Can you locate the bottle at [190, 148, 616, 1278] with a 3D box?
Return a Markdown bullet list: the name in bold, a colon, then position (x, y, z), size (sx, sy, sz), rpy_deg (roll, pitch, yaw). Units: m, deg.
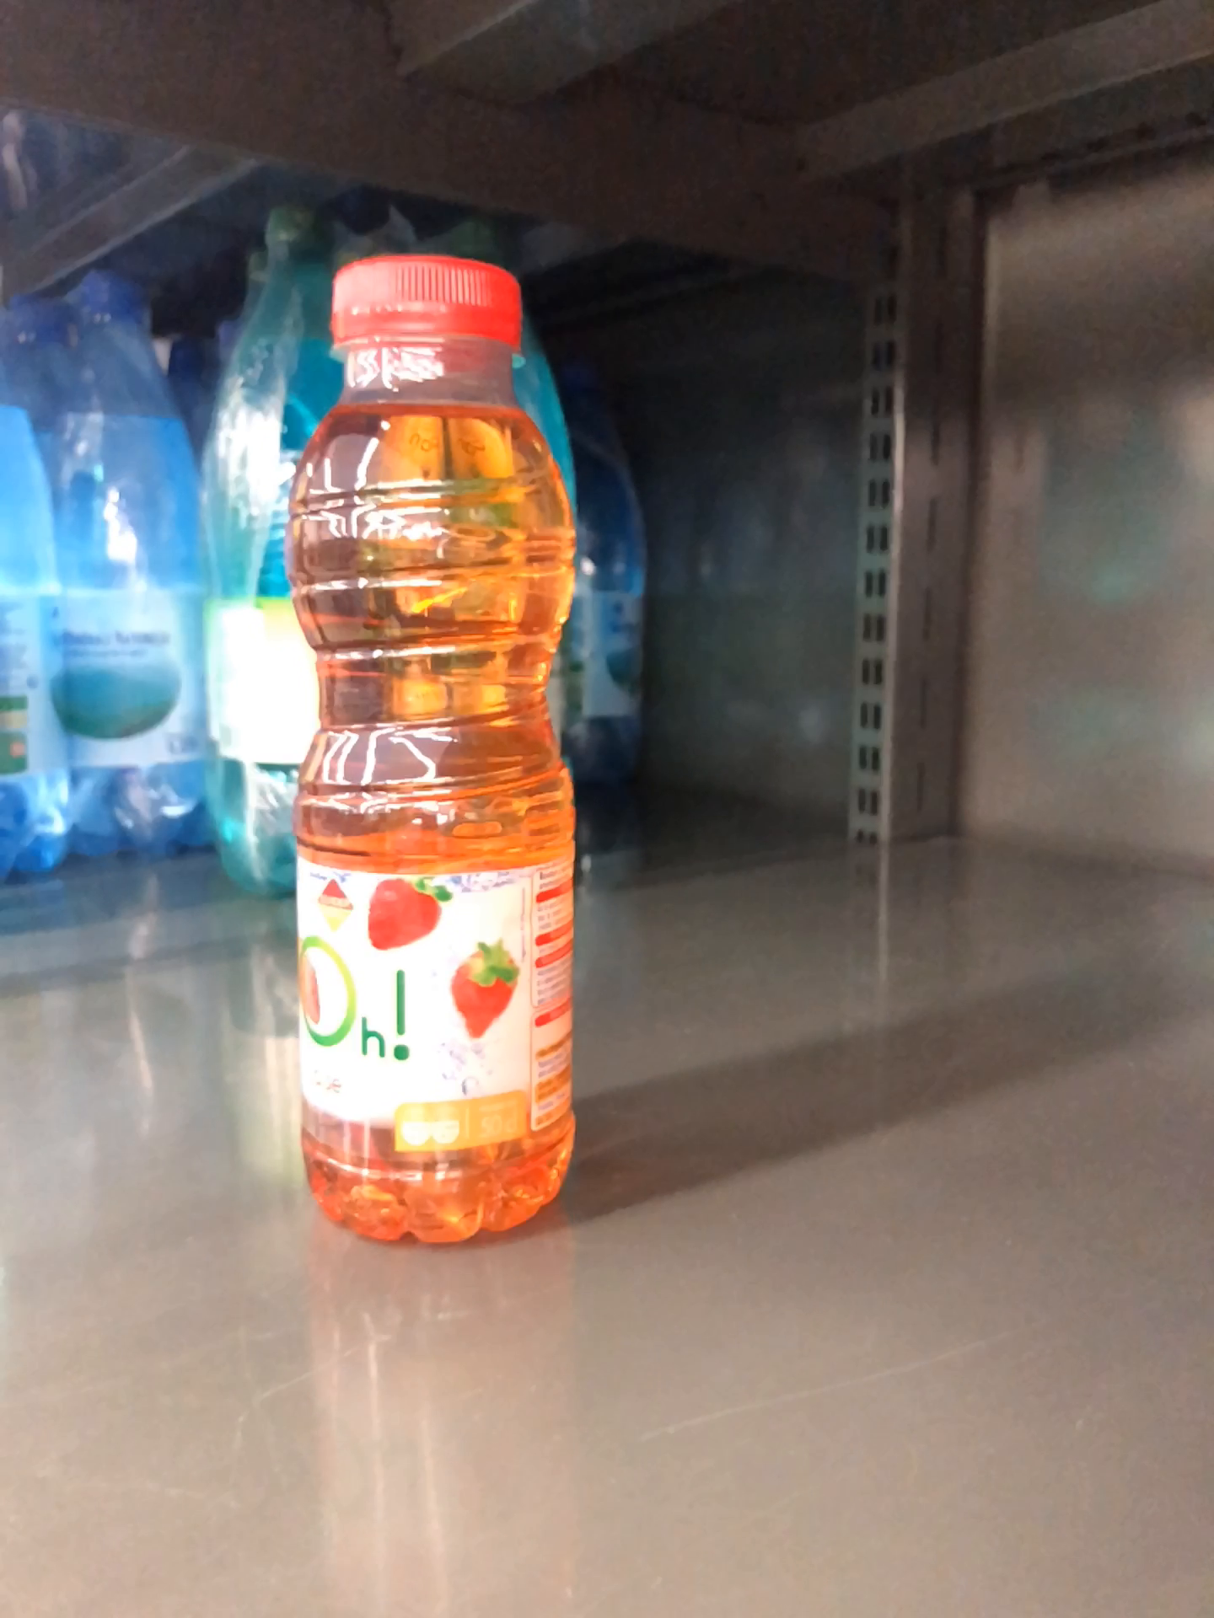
- **bottle**: position (-0.044, -0.019, 0.295), size (0.060, 0.210, 0.070), rpy_deg (-6, 10, -40)
